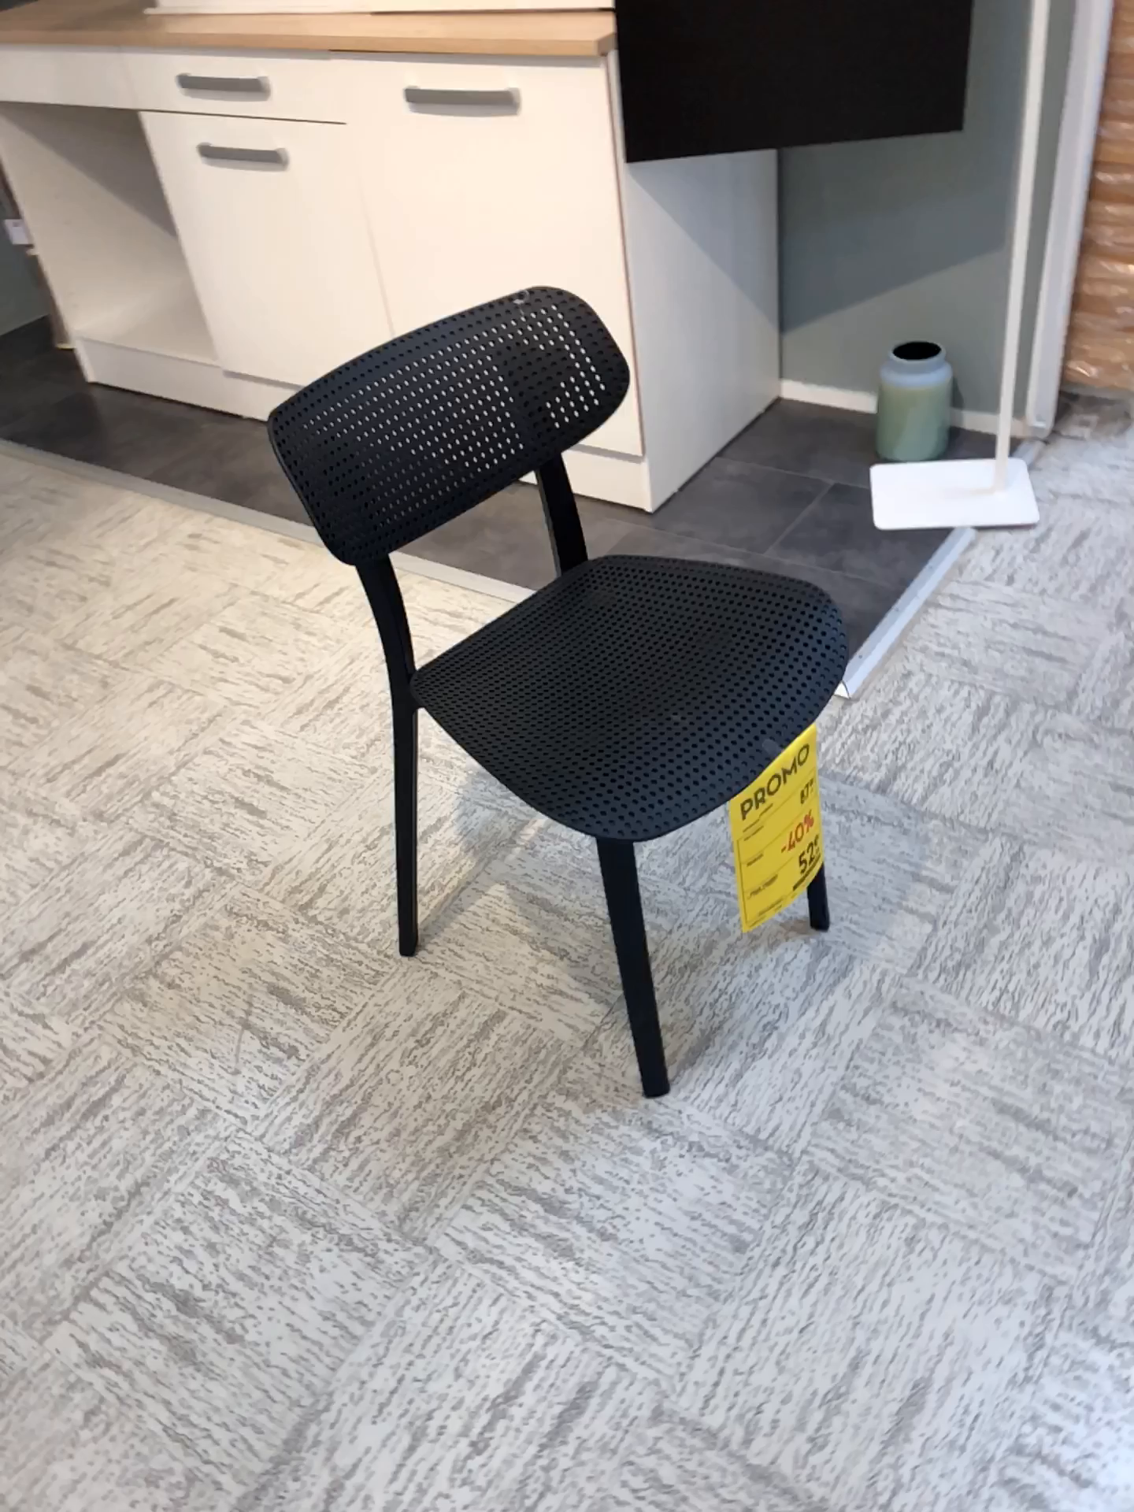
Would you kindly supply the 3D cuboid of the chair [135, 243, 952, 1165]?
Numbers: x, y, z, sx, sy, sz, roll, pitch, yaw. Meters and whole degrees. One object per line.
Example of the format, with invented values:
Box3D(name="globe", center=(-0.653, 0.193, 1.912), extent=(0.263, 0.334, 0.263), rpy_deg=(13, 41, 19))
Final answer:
Box3D(name="chair", center=(0.015, -0.083, 1.344), extent=(0.520, 0.686, 0.543), rpy_deg=(27, 51, 35))
